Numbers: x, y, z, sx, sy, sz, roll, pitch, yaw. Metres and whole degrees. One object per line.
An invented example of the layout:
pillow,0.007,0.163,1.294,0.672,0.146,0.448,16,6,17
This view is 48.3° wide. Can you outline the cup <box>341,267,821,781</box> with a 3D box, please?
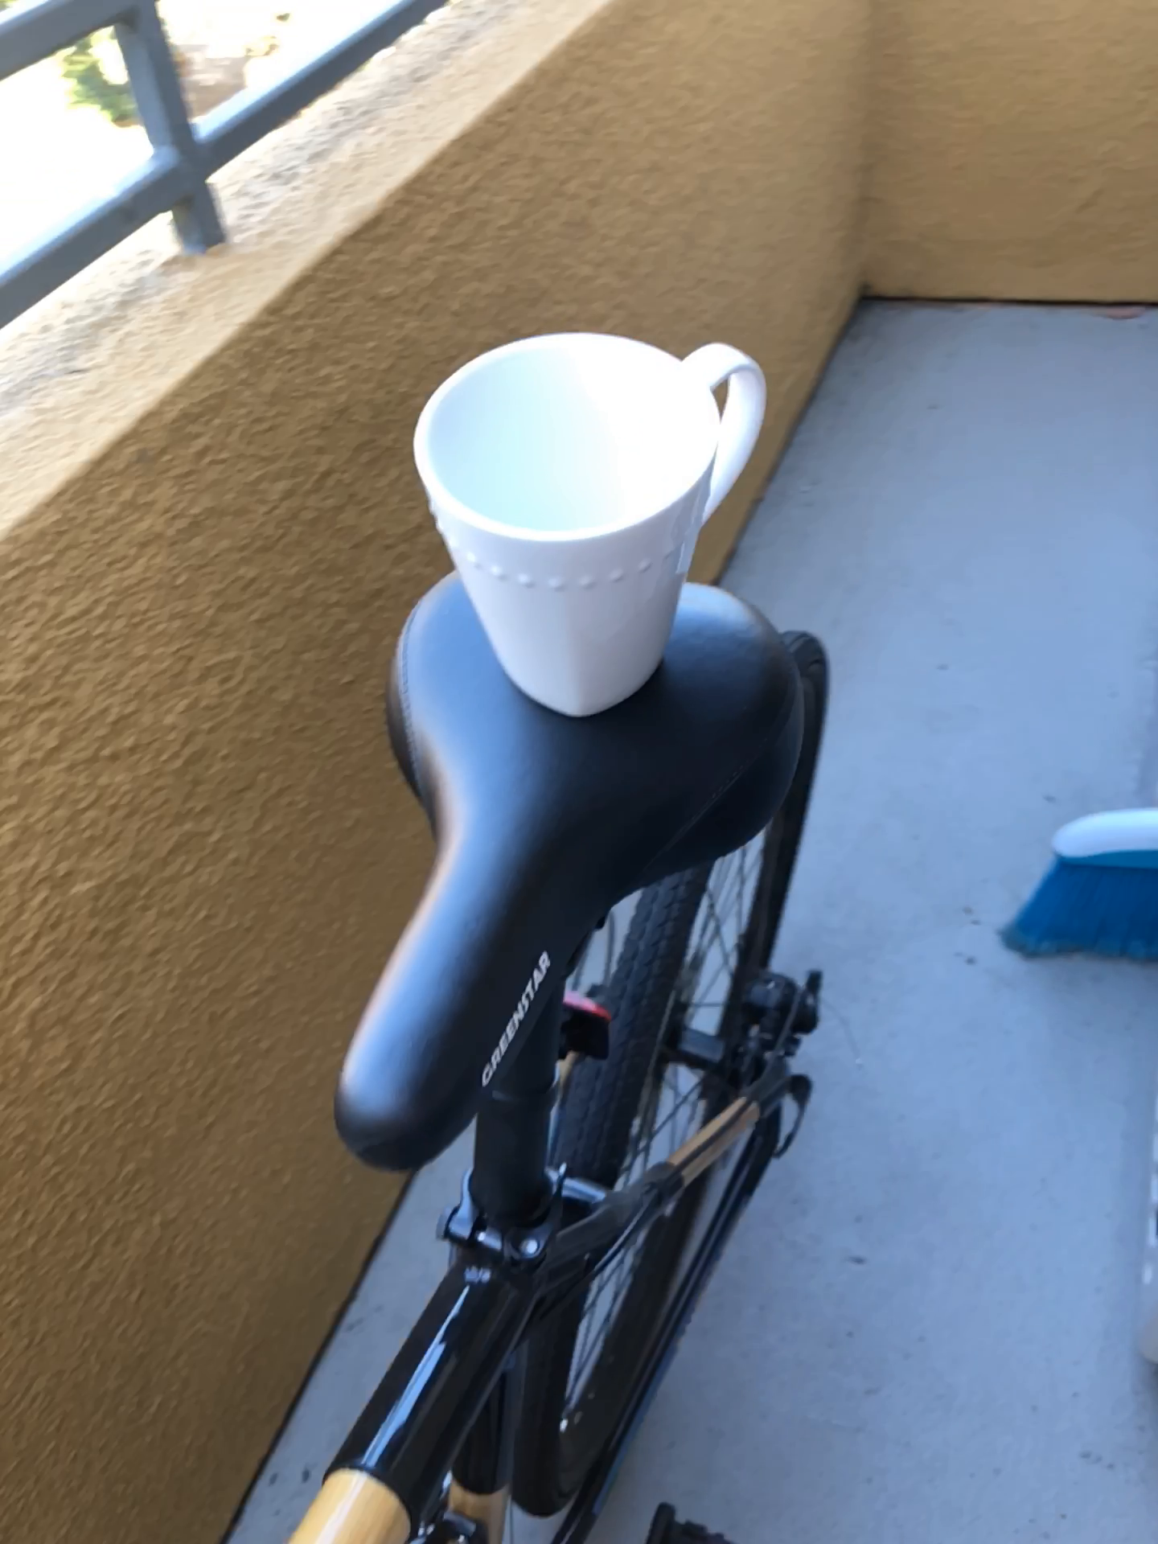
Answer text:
cup,0.006,-0.089,0.441,0.090,0.100,0.130,28,54,27
